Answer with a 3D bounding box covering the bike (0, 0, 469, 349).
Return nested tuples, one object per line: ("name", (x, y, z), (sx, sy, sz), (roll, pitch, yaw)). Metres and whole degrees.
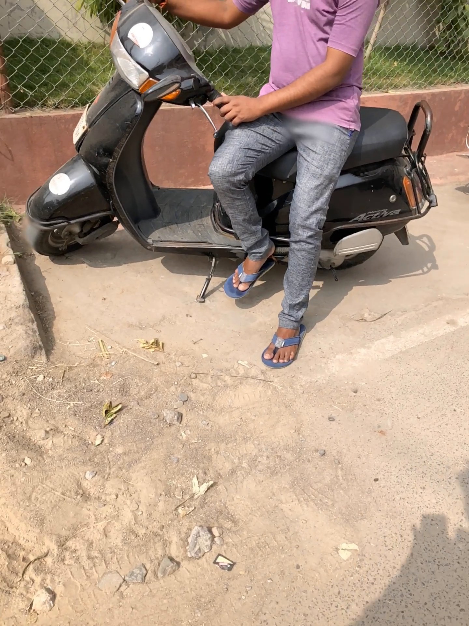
("bike", (-0.064, -0.563, 1.960), (1.548, 1.153, 0.712), (-1, 35, -7))
